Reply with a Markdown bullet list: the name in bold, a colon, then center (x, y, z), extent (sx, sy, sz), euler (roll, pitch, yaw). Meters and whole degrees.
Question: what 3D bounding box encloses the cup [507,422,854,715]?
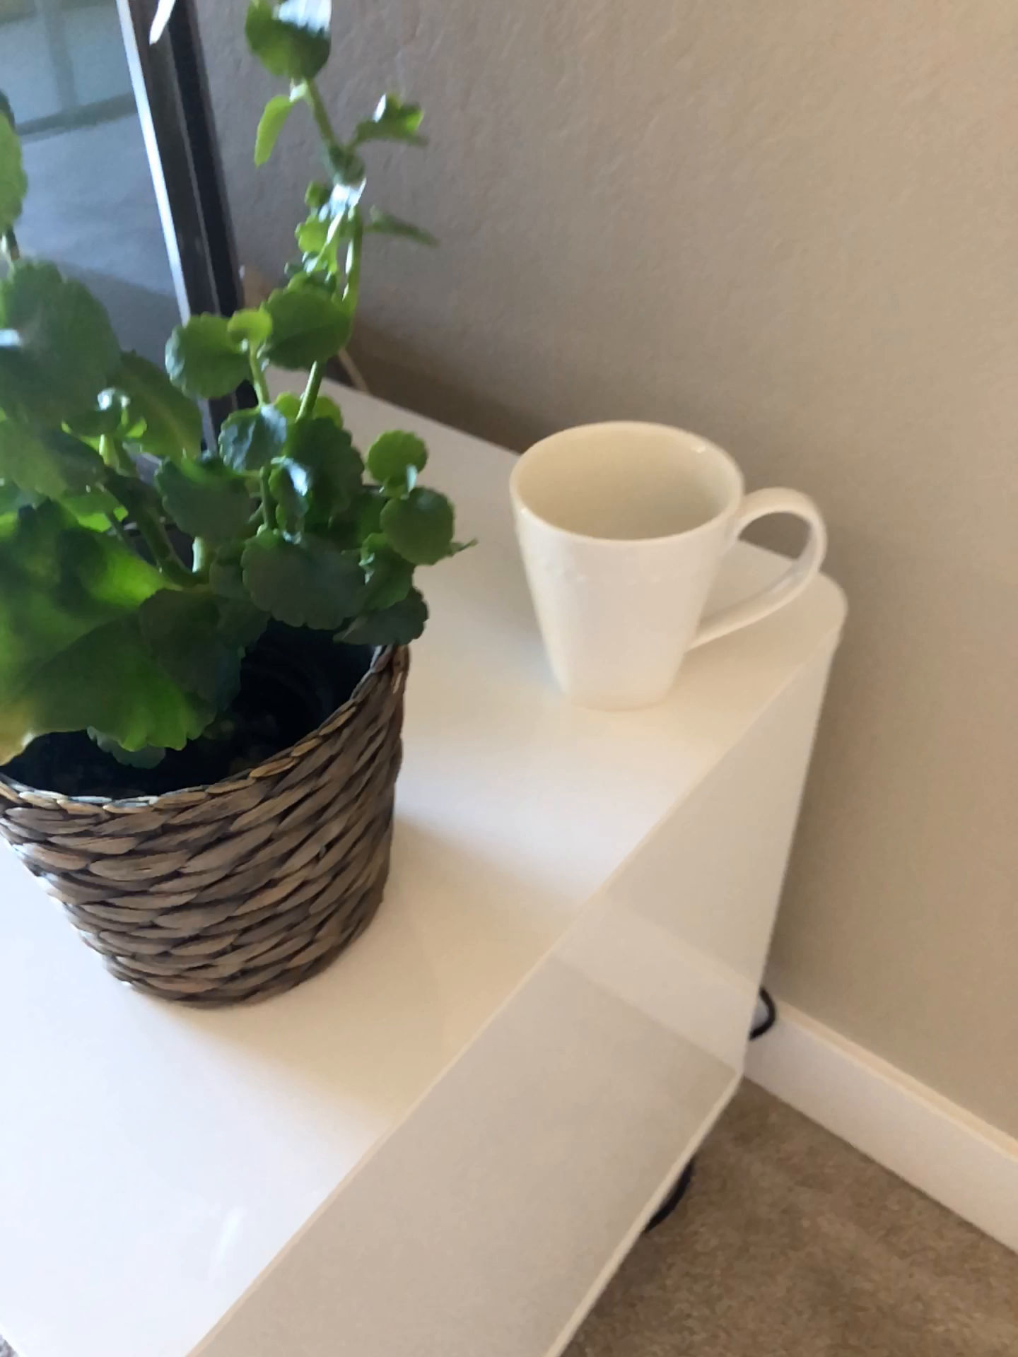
- **cup**: center (0.066, -0.048, 0.490), extent (0.130, 0.090, 0.090), euler (0, 41, 2)
